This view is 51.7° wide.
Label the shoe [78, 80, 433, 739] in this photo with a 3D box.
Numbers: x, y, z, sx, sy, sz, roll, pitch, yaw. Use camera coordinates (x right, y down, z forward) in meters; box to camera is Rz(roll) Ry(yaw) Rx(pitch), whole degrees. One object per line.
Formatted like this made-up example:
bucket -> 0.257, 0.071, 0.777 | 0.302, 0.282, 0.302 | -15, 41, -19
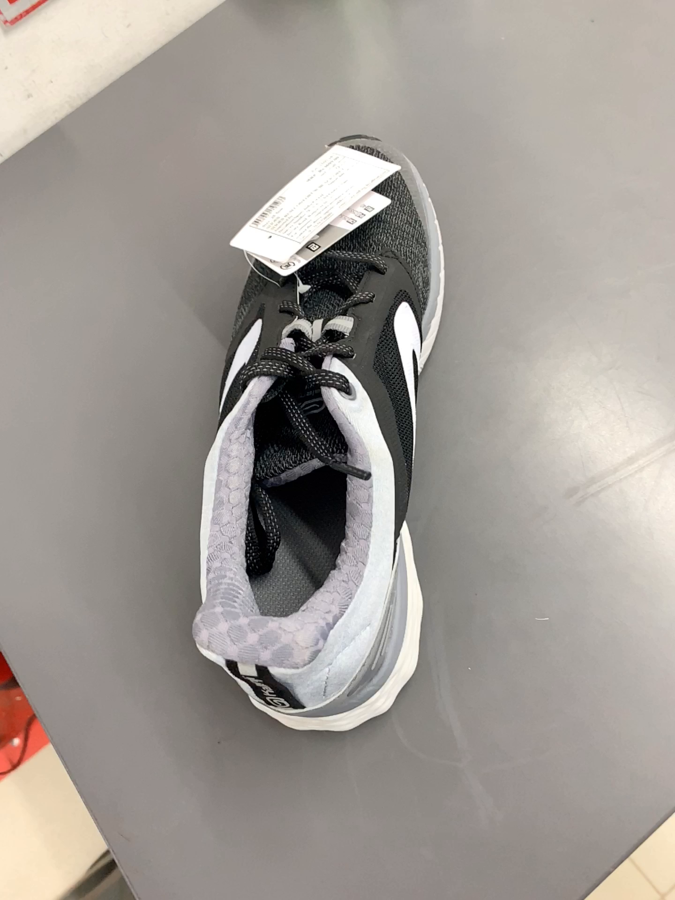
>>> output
shoe -> -0.016, -0.016, 0.282 | 0.100, 0.090, 0.240 | -2, 69, 10
